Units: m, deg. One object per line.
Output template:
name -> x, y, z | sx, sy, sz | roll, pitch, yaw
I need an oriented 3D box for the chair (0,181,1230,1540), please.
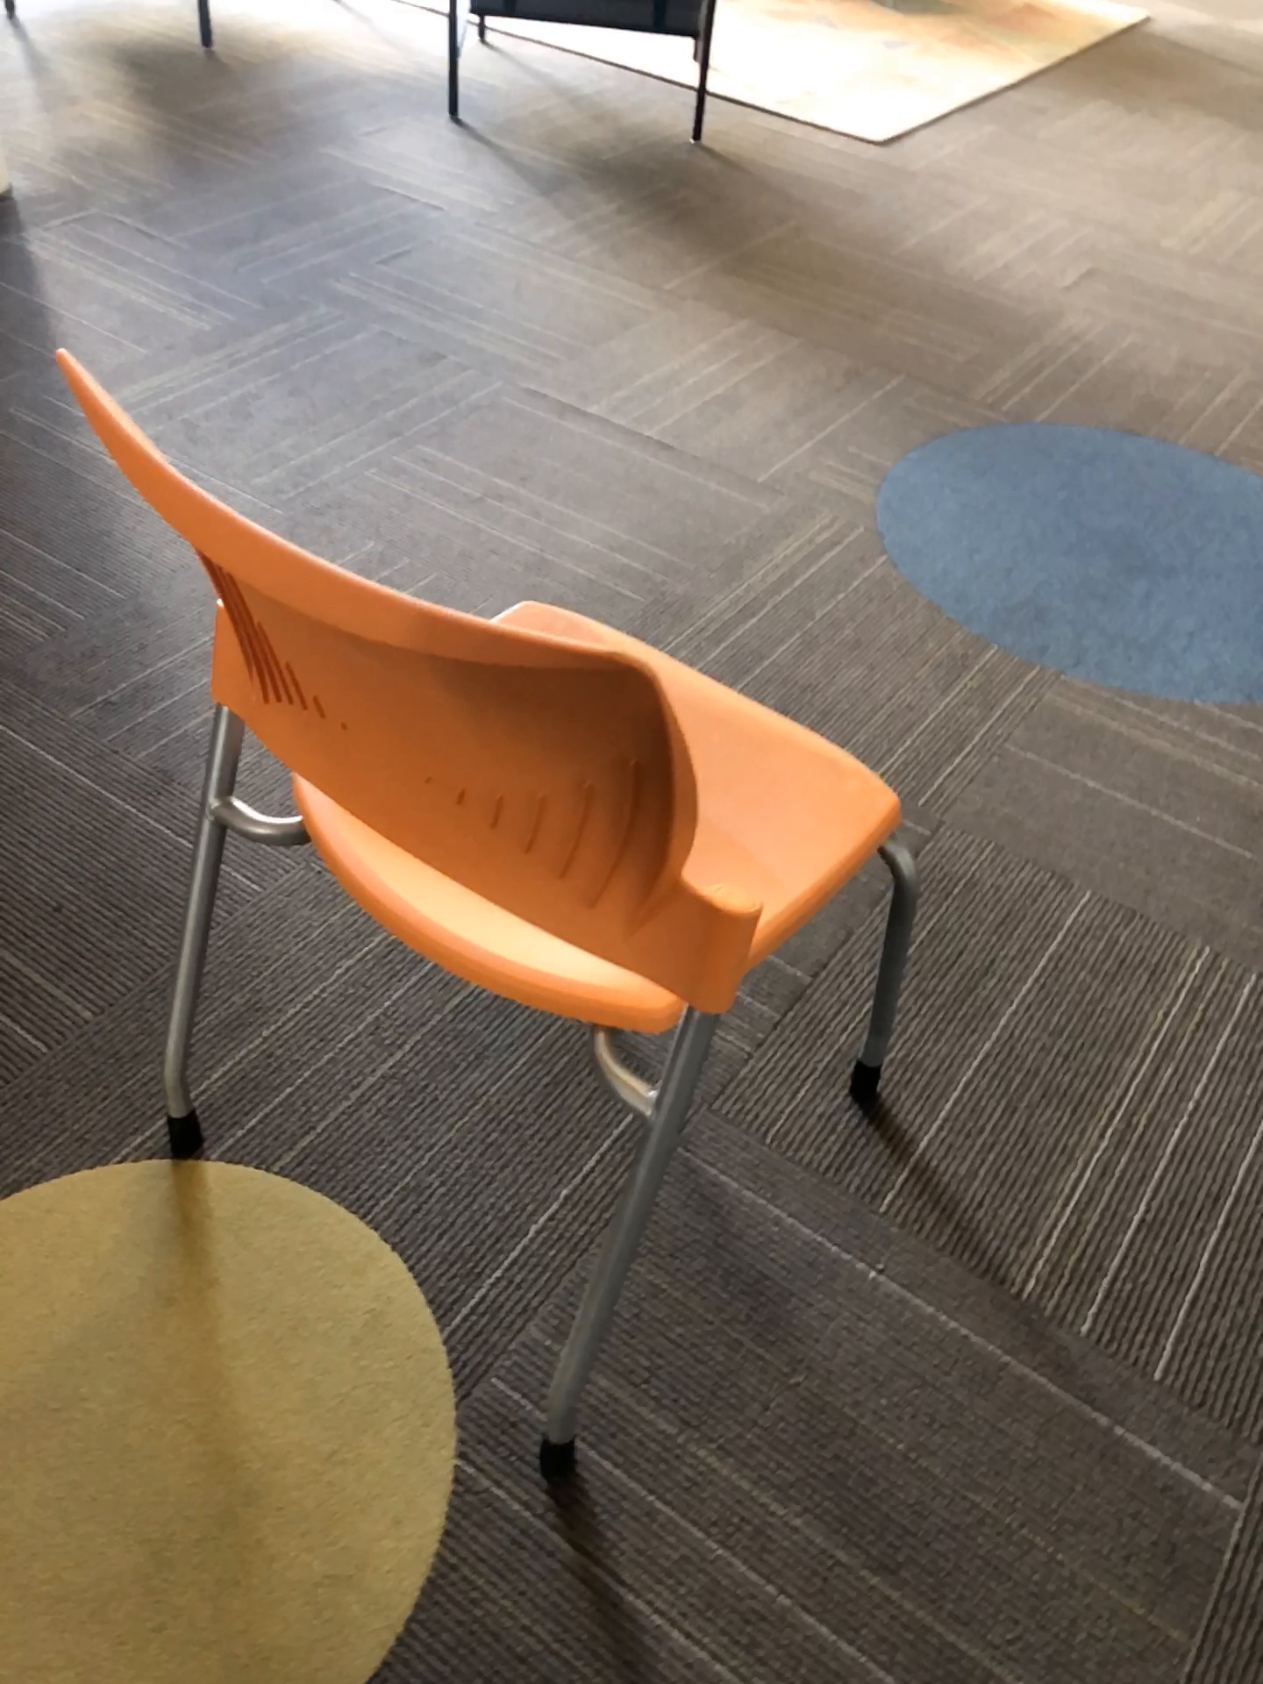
chair -> -0.045, -0.019, 1.179 | 0.641, 0.747, 0.612 | 30, 47, 24
